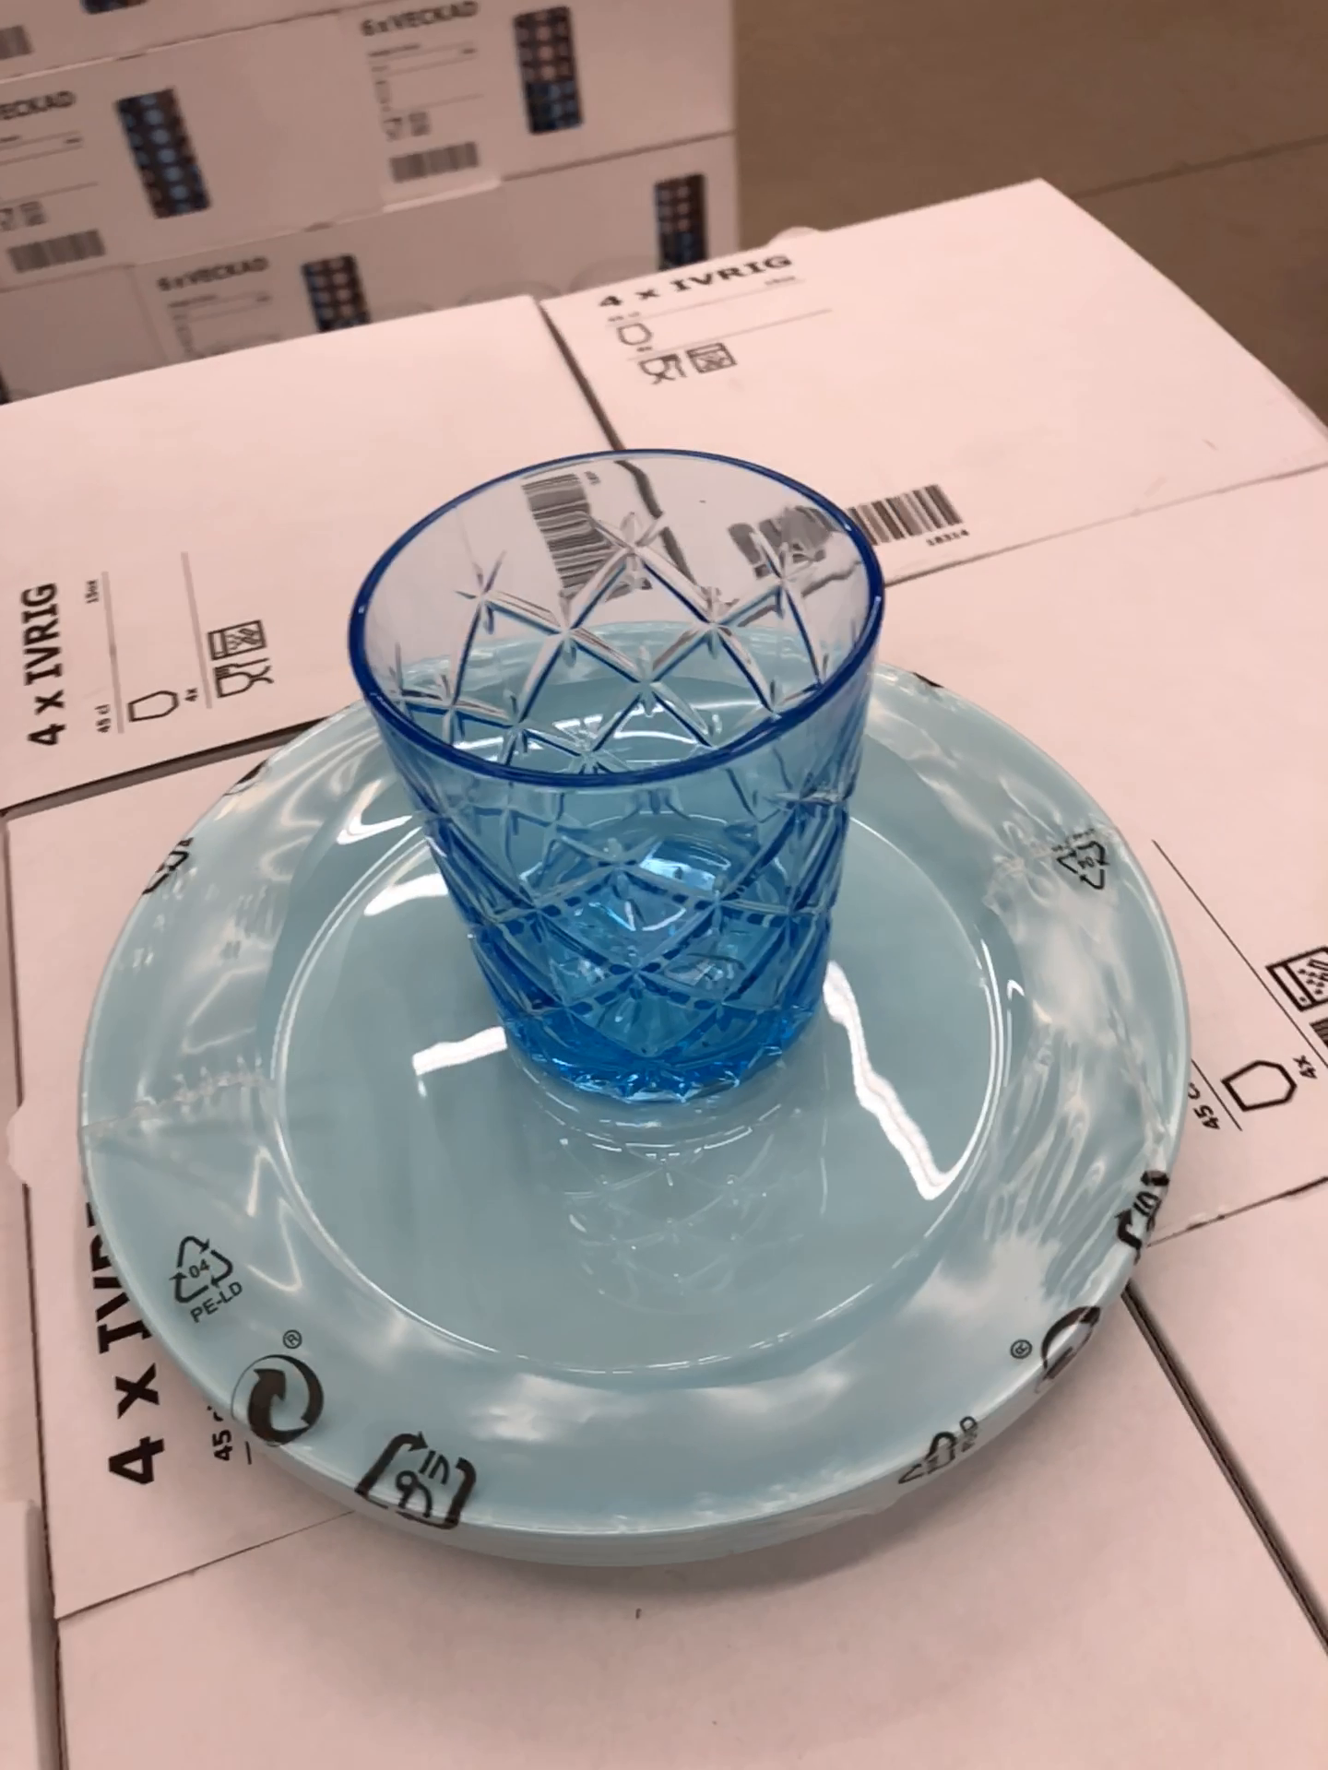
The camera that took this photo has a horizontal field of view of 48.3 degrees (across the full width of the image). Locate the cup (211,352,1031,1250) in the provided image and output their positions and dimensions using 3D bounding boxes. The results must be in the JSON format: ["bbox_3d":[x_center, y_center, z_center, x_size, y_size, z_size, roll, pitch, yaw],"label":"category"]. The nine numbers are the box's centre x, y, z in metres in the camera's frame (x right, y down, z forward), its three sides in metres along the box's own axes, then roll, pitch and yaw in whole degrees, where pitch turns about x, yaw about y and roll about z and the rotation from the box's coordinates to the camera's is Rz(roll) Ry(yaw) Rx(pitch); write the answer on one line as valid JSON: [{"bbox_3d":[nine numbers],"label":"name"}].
[{"bbox_3d":[-0.004,-0.016,0.266,0.090,0.100,0.090,-3,49,4],"label":"cup"}]
